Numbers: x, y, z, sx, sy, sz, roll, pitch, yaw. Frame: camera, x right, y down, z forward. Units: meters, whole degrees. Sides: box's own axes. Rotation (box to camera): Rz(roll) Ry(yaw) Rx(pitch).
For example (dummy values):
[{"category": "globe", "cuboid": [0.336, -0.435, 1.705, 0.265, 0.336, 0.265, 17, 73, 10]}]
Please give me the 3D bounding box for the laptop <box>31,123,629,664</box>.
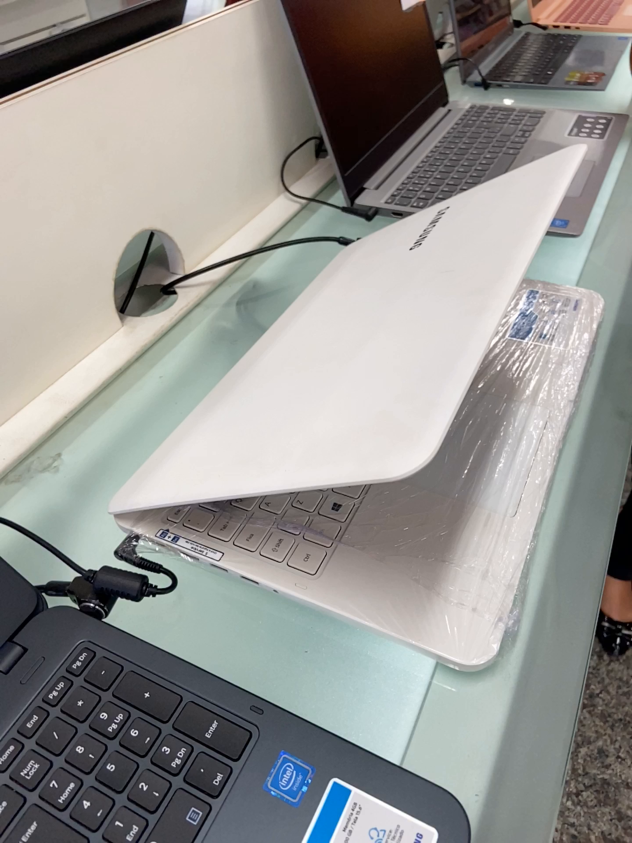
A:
[{"category": "laptop", "cuboid": [0.049, -0.073, 0.452, 0.247, 0.129, 0.374, 14, 45, 22]}]
